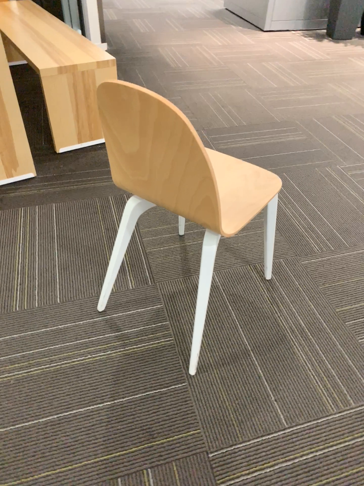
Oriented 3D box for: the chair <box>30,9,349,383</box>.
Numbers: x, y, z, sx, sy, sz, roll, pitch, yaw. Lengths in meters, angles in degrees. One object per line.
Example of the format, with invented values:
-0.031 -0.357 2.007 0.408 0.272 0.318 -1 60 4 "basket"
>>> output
0.034 -0.136 1.096 0.461 0.825 0.572 28 48 25 "chair"
